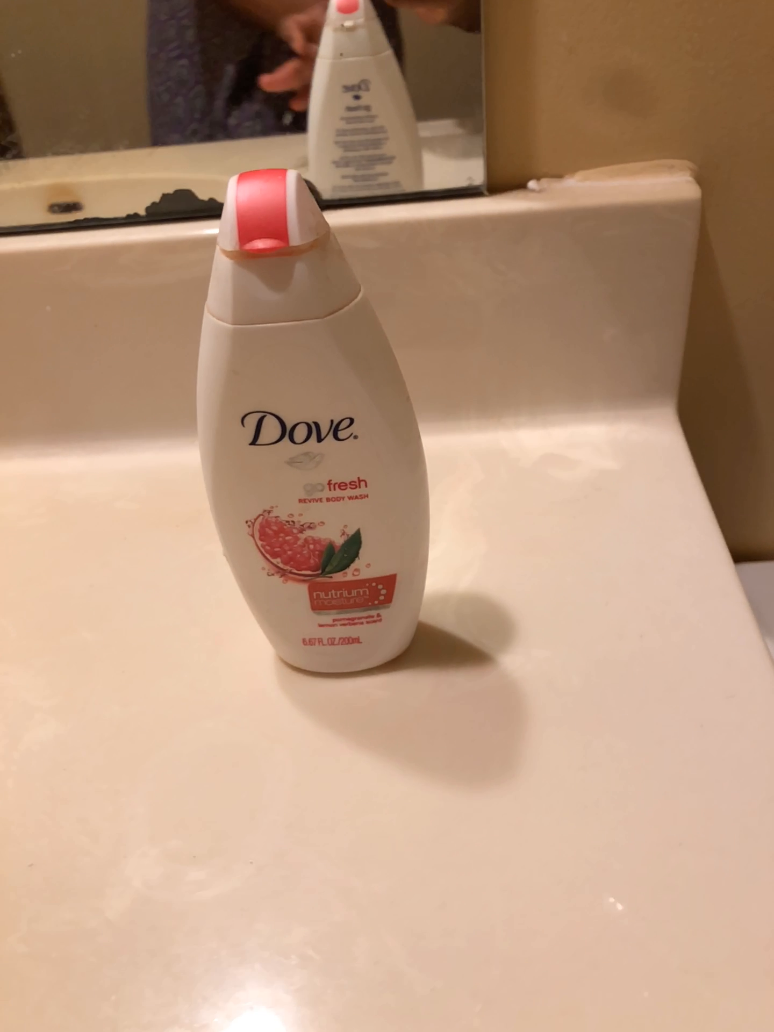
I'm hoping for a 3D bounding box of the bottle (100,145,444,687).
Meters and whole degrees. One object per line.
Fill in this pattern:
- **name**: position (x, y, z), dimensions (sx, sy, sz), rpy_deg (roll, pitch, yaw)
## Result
- **bottle**: position (-0.022, -0.019, 0.258), dimensions (0.070, 0.160, 0.040), rpy_deg (-2, 38, 6)
